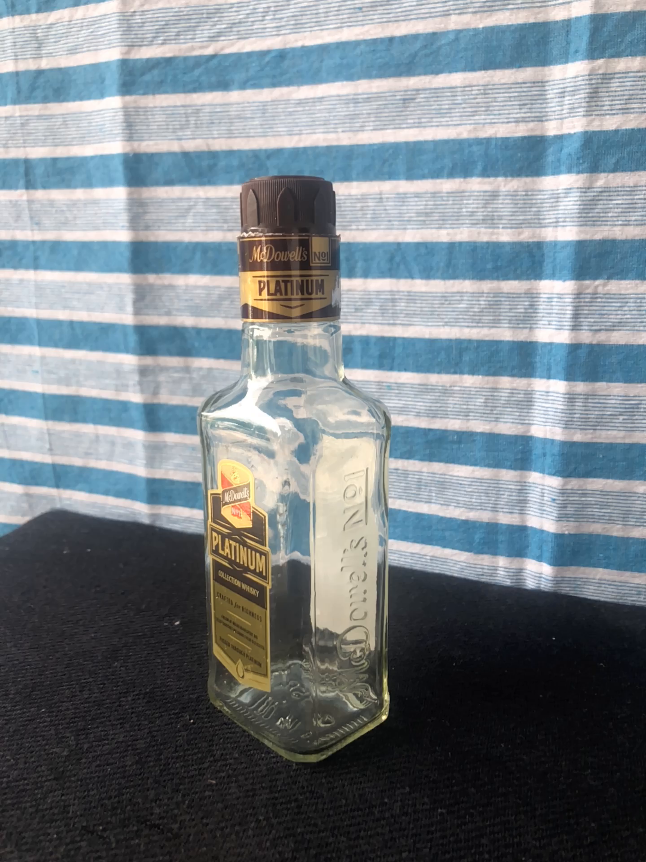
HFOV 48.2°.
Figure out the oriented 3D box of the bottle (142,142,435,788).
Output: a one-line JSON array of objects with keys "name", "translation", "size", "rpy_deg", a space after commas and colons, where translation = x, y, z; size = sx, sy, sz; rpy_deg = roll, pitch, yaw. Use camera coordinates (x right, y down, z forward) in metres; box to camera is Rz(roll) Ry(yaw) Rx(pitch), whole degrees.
[{"name": "bottle", "translation": [-0.010, 0.006, 0.193], "size": [0.060, 0.149, 0.040], "rpy_deg": [15, 21, 42]}]
